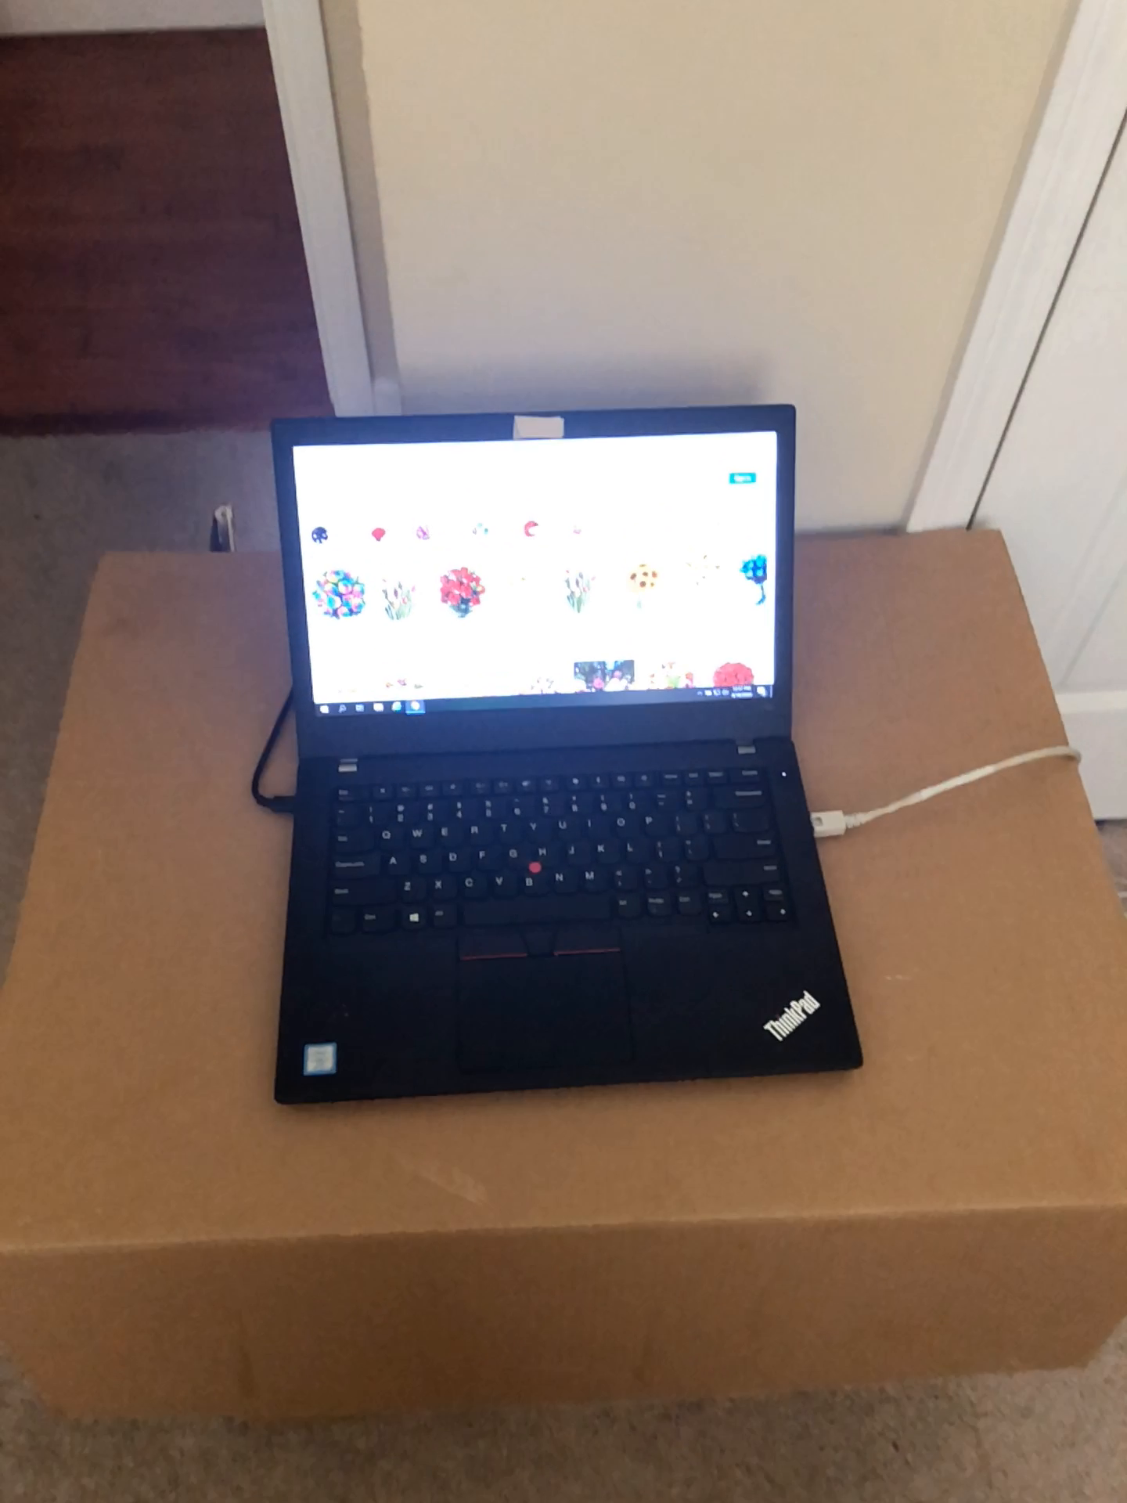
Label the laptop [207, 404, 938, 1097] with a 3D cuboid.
[{"bbox_3d":[-0.007,-0.015,0.713,0.322,0.158,0.366,-2,54,-3],"label":"laptop"}]
